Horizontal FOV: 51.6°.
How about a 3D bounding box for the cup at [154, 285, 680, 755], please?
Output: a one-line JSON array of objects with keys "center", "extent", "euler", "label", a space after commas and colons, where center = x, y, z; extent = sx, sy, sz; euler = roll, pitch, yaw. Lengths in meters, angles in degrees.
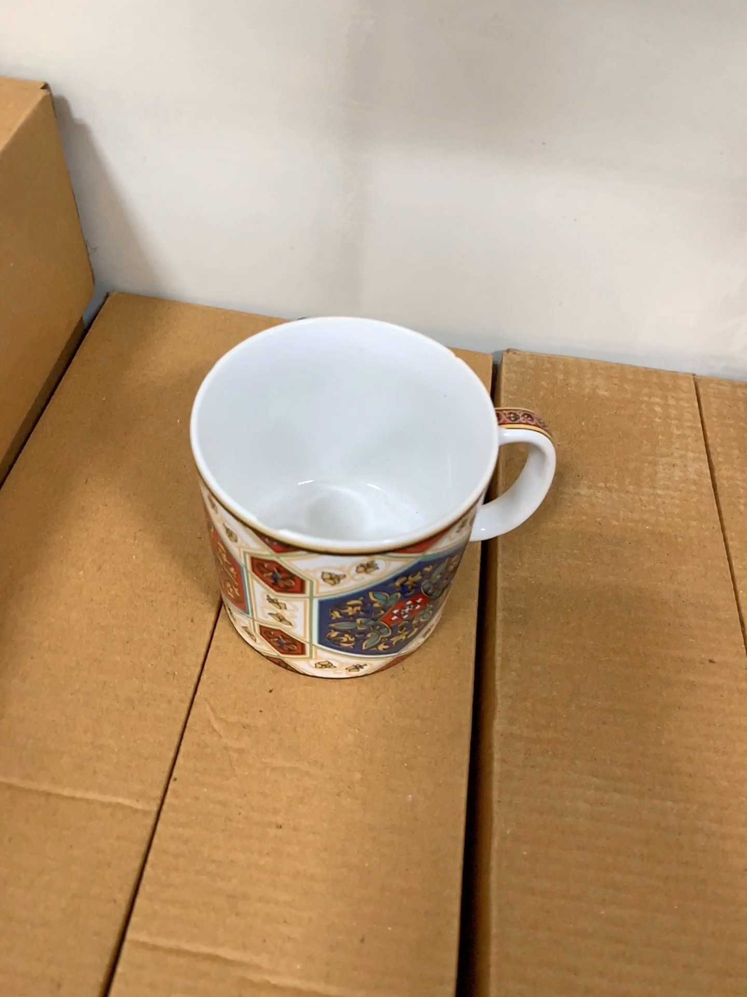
[{"center": [0.004, 0.003, 0.205], "extent": [0.100, 0.070, 0.080], "euler": [-12, 56, -16], "label": "cup"}]
